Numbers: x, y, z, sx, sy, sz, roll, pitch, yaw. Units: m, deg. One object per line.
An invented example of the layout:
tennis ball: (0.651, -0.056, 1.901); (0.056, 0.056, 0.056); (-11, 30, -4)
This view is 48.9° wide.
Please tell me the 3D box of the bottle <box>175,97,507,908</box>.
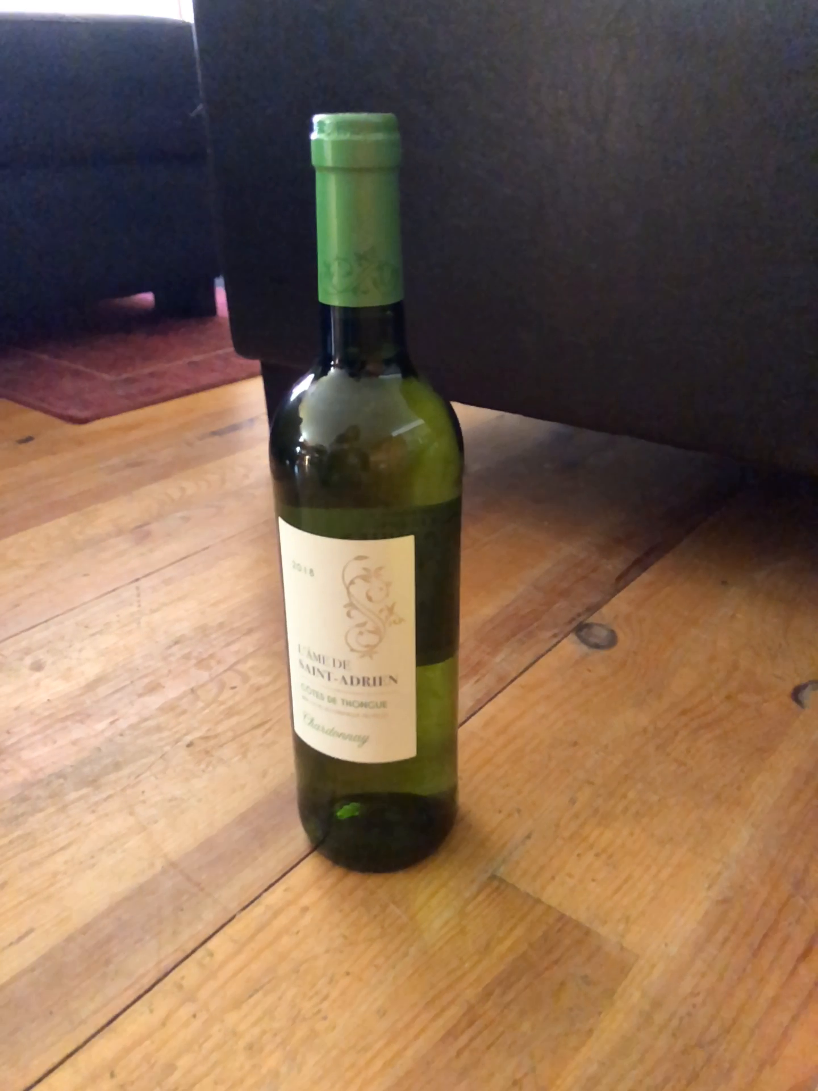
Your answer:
bottle: (-0.014, -0.008, 0.353); (0.080, 0.298, 0.081); (-1, 25, 1)
